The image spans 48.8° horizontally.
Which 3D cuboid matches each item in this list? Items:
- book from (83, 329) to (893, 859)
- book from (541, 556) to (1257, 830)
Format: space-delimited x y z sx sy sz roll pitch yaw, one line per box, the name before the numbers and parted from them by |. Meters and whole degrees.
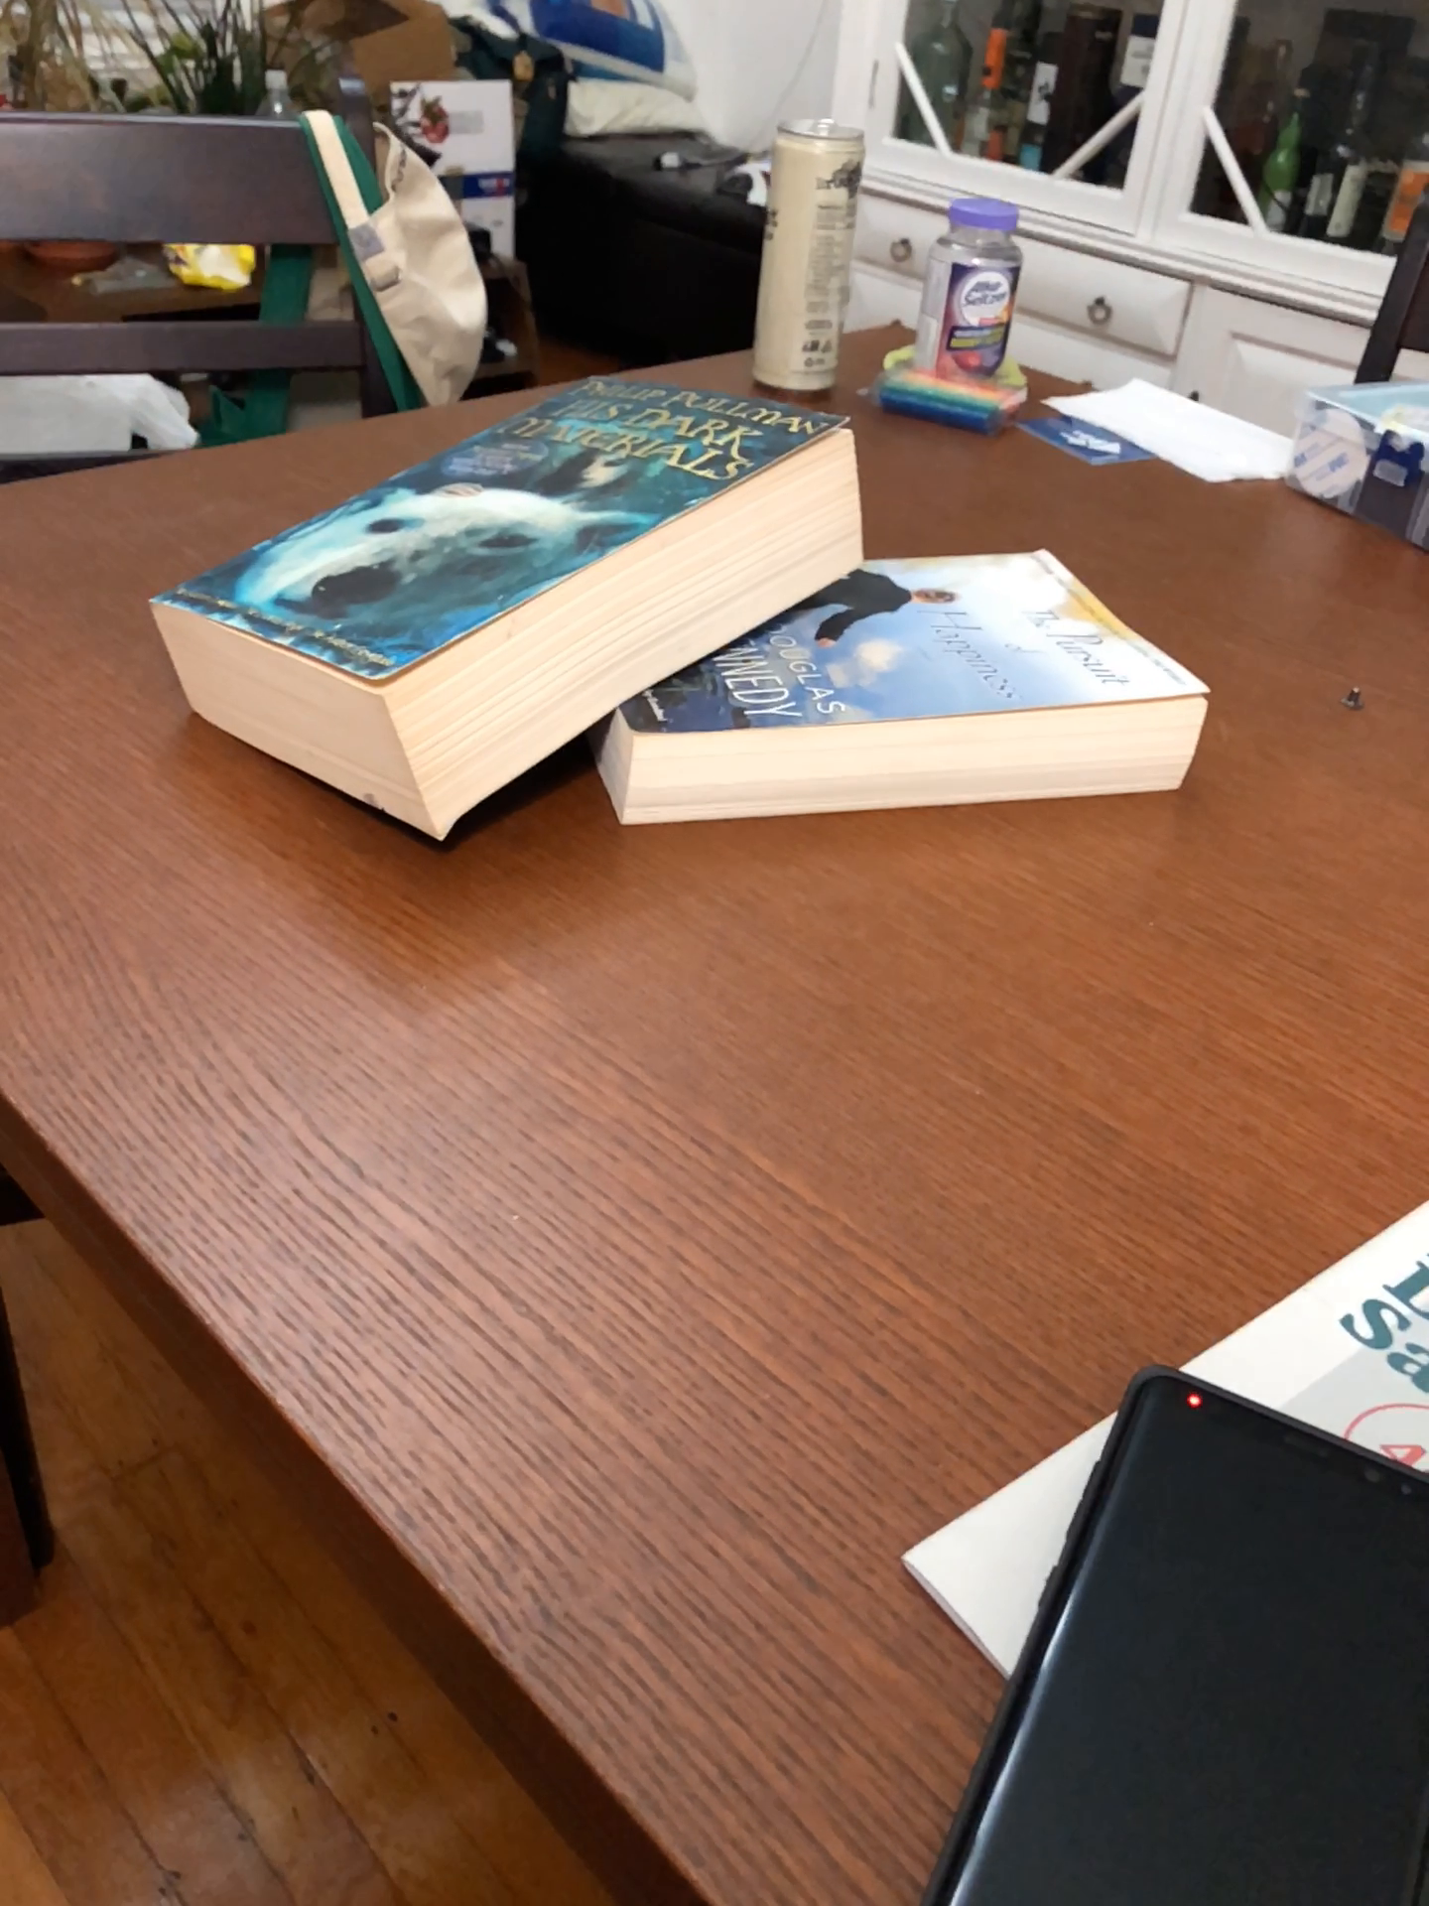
book | -0.077 -0.149 0.586 0.170 0.060 0.241 26 52 35
book | 0.060 -0.111 0.627 0.240 0.040 0.171 -5 30 -10
